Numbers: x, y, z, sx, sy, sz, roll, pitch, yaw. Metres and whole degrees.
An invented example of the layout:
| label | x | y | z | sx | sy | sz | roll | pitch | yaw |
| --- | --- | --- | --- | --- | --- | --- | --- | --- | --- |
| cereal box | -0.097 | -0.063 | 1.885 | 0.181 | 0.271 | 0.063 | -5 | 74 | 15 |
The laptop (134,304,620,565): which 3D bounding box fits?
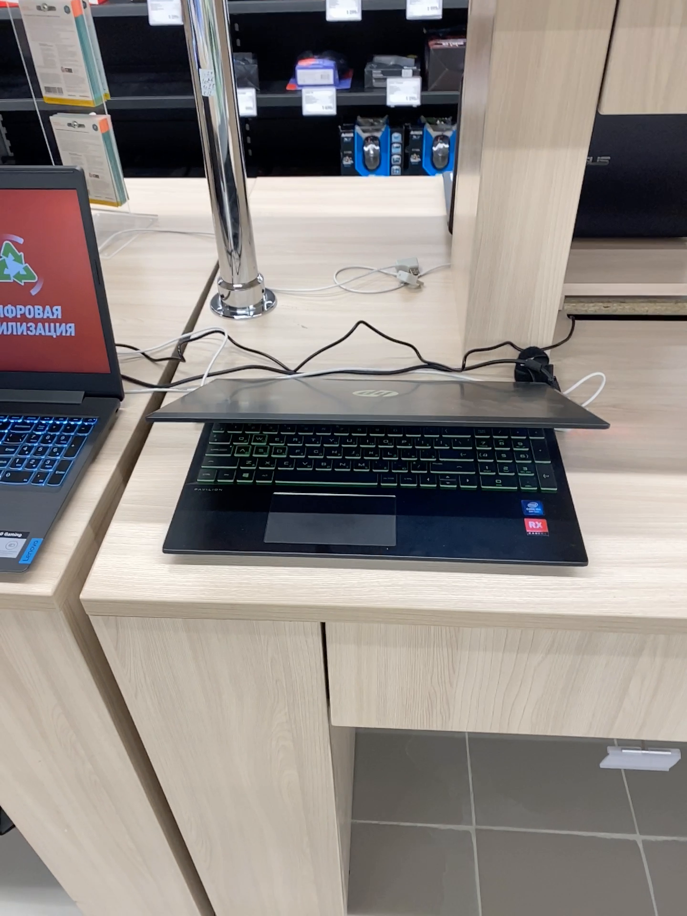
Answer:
| label | x | y | z | sx | sy | sz | roll | pitch | yaw |
| --- | --- | --- | --- | --- | --- | --- | --- | --- | --- |
| laptop | 0.028 | -0.034 | 0.648 | 0.364 | 0.108 | 0.236 | 1 | 40 | 4 |
